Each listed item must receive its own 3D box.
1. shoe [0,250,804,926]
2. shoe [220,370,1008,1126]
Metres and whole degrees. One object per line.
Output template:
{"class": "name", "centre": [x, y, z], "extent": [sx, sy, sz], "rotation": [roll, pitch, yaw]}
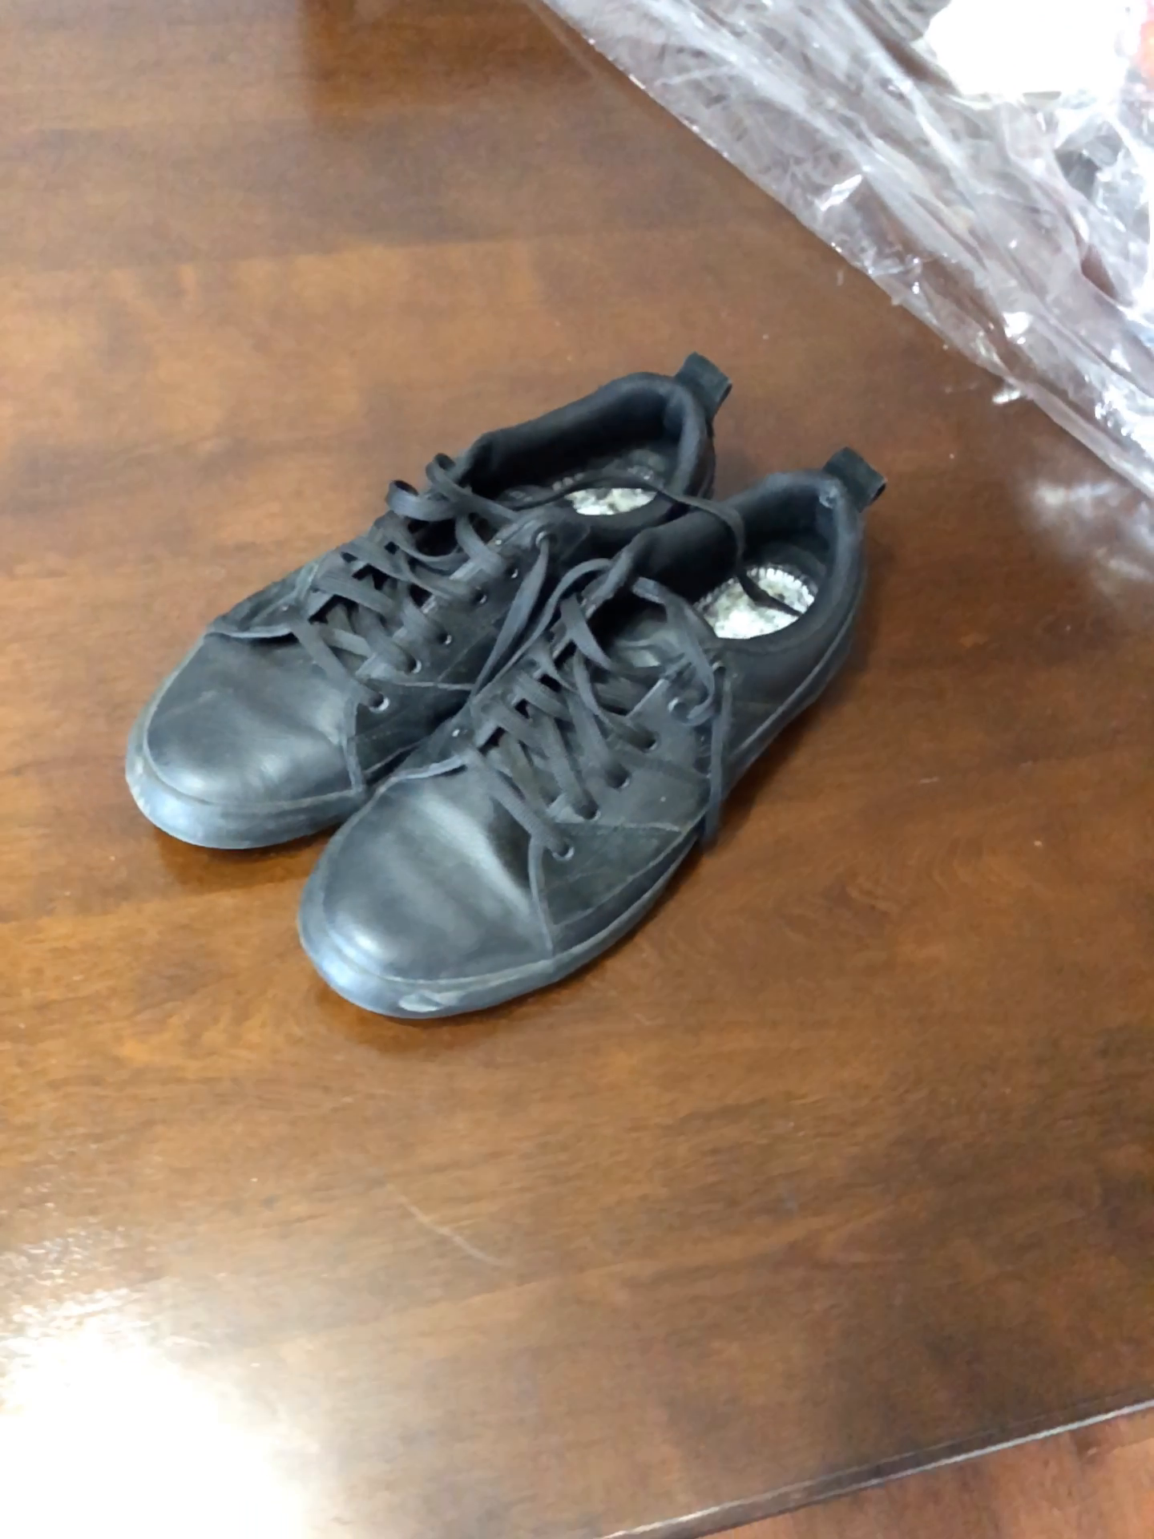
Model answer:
{"class": "shoe", "centre": [-0.060, -0.083, 0.536], "extent": [0.300, 0.110, 0.110], "rotation": [-36, 70, -23]}
{"class": "shoe", "centre": [0.022, -0.017, 0.509], "extent": [0.110, 0.110, 0.300], "rotation": [42, 64, 17]}
